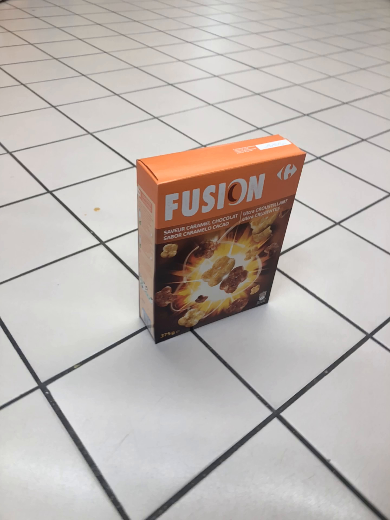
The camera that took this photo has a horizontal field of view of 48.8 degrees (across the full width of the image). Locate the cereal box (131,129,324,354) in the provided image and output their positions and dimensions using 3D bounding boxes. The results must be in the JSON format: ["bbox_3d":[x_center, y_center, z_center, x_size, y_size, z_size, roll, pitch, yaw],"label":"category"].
[{"bbox_3d":[0.029,-0.019,0.541,0.201,0.248,0.070,-16,45,-24],"label":"cereal box"}]
